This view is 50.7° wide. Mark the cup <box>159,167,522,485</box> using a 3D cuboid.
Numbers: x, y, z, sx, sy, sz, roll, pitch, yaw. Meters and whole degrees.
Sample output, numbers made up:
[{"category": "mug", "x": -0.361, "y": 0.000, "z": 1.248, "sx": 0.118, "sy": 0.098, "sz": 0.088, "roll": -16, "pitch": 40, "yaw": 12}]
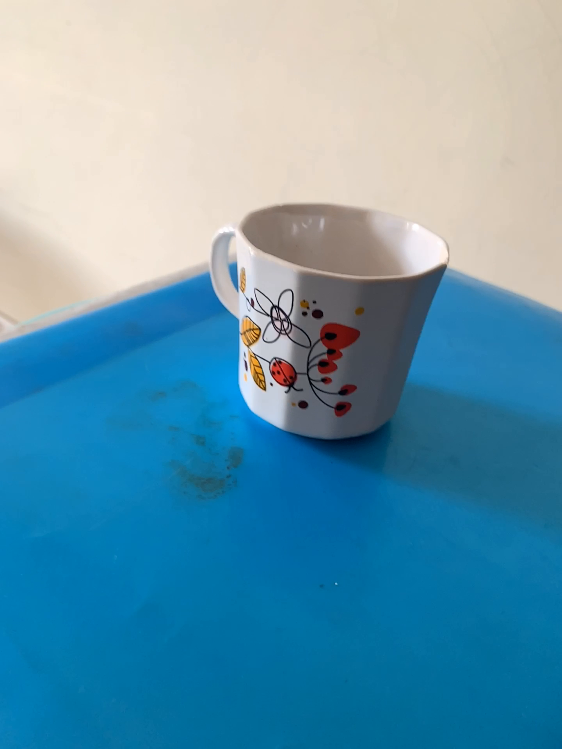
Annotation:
[{"category": "cup", "x": 0.014, "y": -0.026, "z": 0.213, "sx": 0.070, "sy": 0.060, "sz": 0.100, "roll": -21, "pitch": 45, "yaw": -37}]
